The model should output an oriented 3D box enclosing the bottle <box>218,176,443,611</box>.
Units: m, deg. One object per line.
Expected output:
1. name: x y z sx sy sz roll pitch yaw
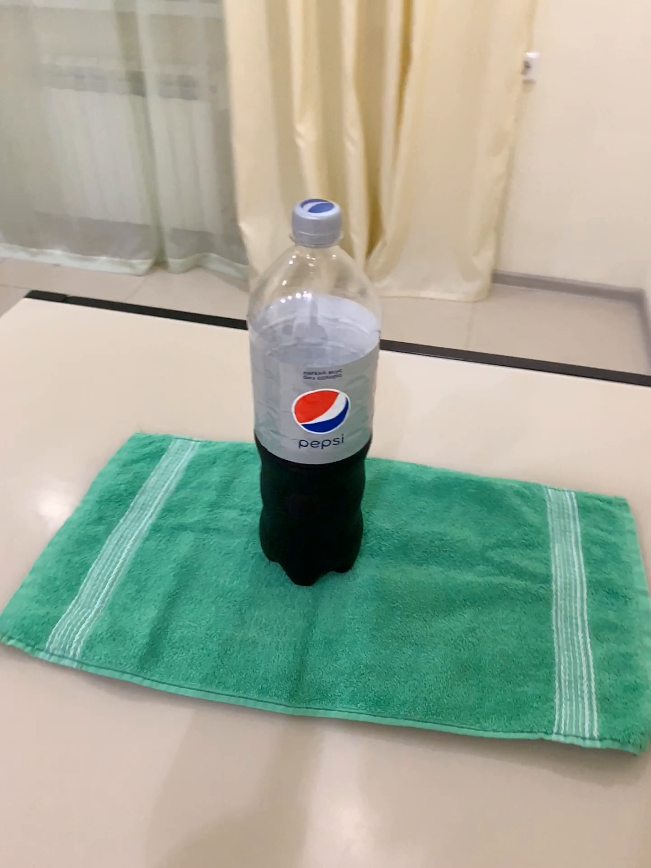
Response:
1. bottle: -0.002 -0.014 0.490 0.100 0.298 0.101 0 41 0
